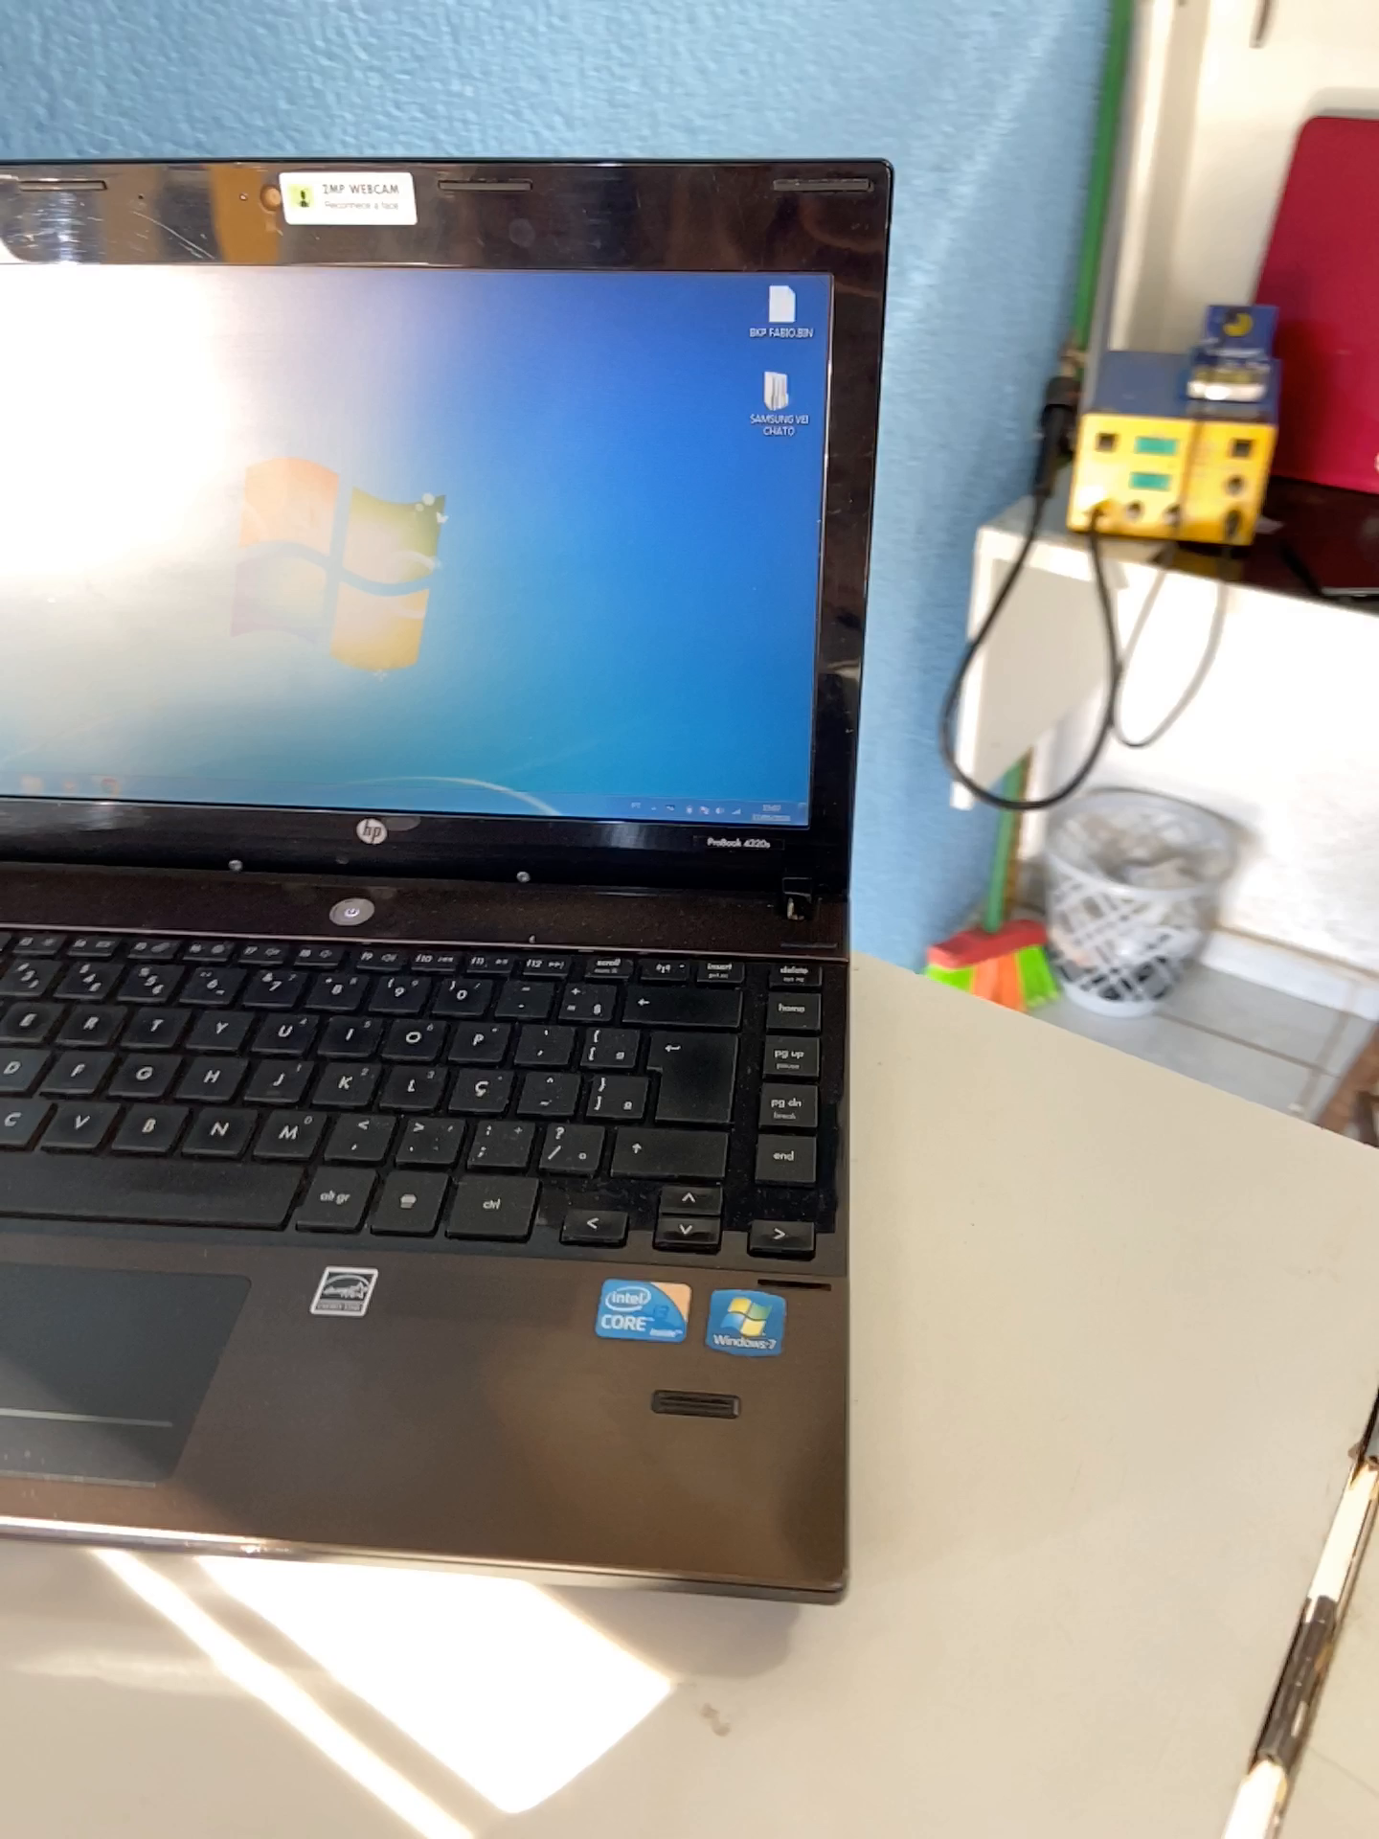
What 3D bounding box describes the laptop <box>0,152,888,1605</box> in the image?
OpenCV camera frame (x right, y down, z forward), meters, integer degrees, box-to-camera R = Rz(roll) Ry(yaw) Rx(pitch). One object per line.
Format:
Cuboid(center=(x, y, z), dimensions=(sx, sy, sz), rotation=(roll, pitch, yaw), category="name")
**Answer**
Cuboid(center=(-0.120, -0.037, 0.337), dimensions=(0.321, 0.207, 0.260), rotation=(2, 37, 6), category="laptop")
